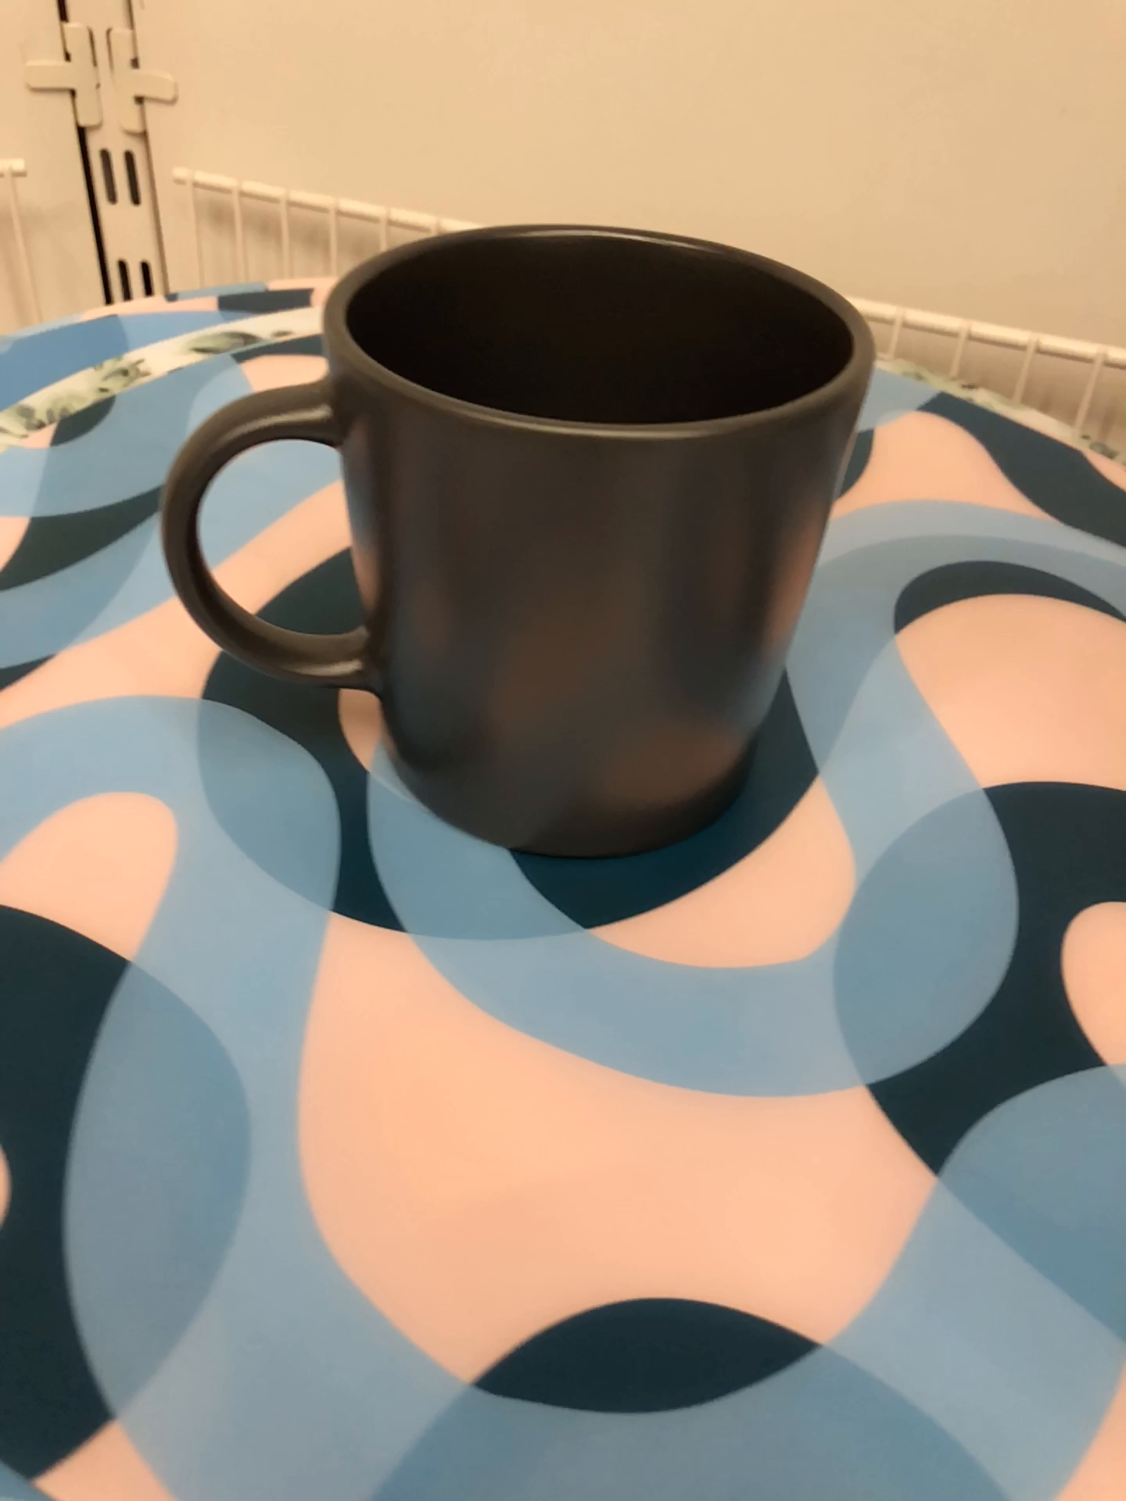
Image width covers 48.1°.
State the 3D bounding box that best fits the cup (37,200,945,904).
[{"bbox_3d":[-0.015,-0.039,0.229,0.120,0.090,0.090,-1,38,-7],"label":"cup"}]
